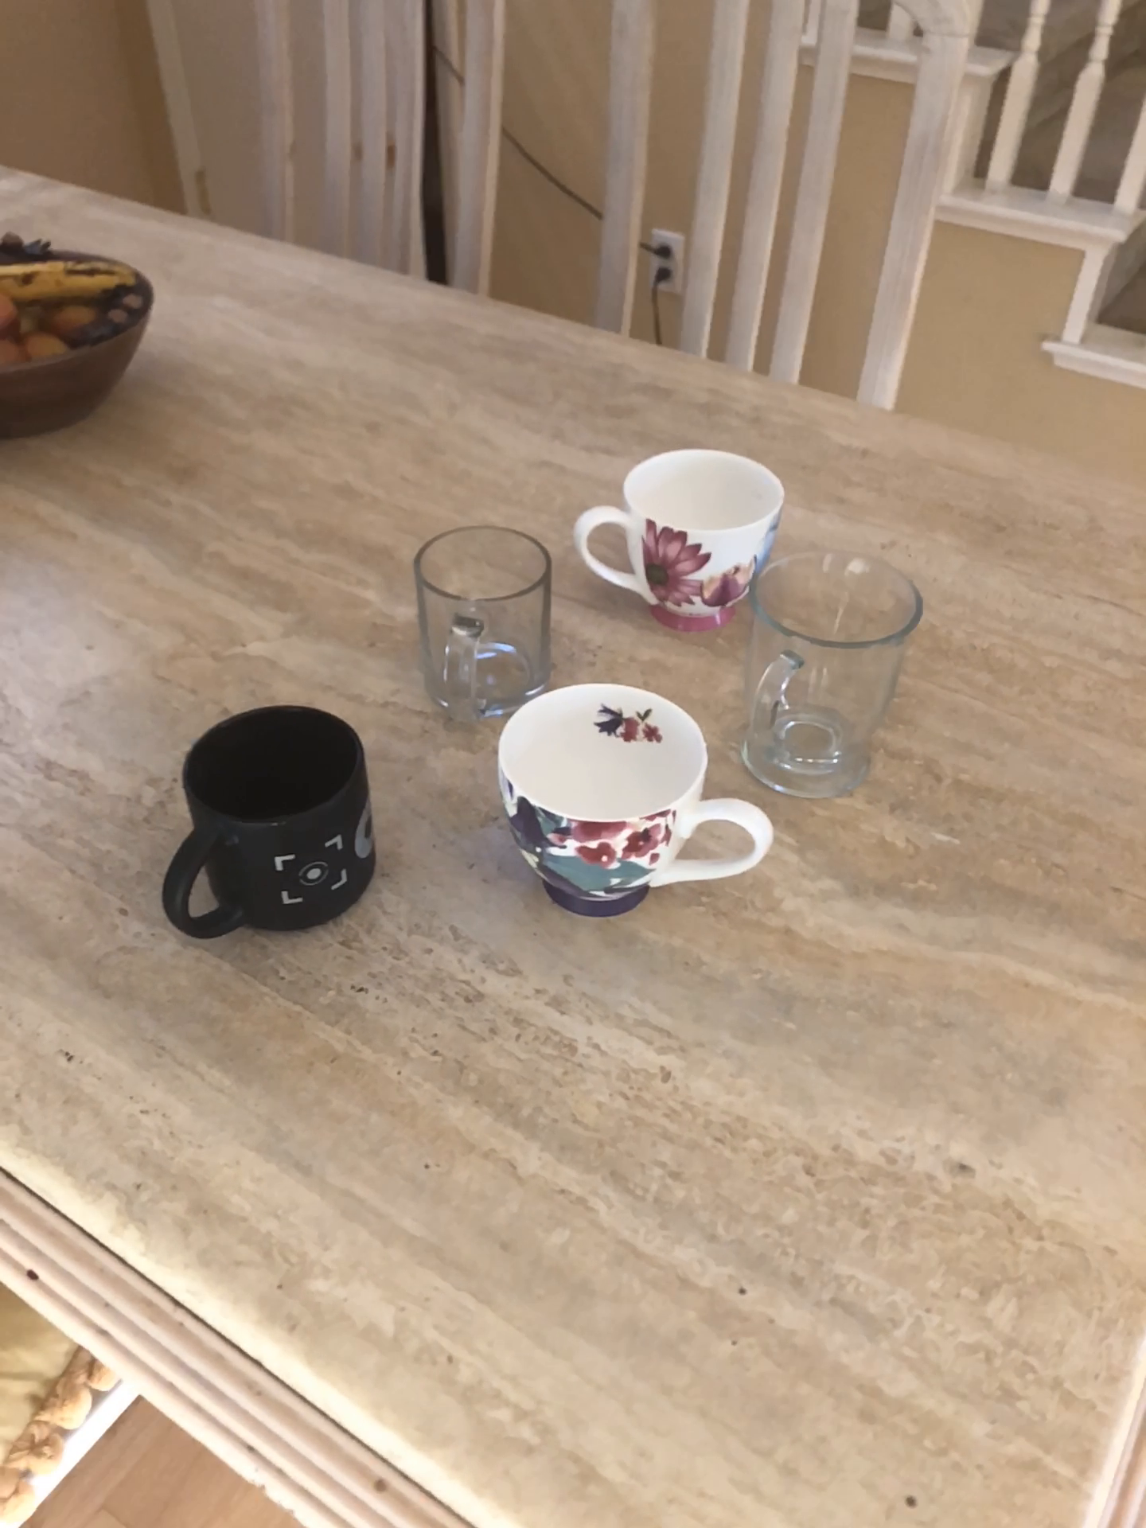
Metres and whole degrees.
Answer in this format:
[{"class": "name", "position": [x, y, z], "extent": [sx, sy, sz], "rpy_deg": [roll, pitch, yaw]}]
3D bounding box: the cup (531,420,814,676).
[{"class": "cup", "position": [0.063, -0.150, 0.859], "extent": [0.151, 0.099, 0.111], "rpy_deg": [-18, 45, -20]}]

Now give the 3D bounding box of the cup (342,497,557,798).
[{"class": "cup", "position": [-0.070, -0.074, 0.781], "extent": [0.090, 0.119, 0.131], "rpy_deg": [10, 42, 10]}]

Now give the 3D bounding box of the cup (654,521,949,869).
[{"class": "cup", "position": [0.130, -0.044, 0.733], "extent": [0.100, 0.119, 0.141], "rpy_deg": [26, 47, 25]}]

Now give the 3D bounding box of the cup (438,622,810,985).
[{"class": "cup", "position": [0.026, 0.016, 0.652], "extent": [0.150, 0.099, 0.111], "rpy_deg": [18, 45, 18]}]

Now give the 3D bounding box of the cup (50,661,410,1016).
[{"class": "cup", "position": [-0.173, 0.034, 0.665], "extent": [0.100, 0.089, 0.141], "rpy_deg": [26, 47, 25]}]
